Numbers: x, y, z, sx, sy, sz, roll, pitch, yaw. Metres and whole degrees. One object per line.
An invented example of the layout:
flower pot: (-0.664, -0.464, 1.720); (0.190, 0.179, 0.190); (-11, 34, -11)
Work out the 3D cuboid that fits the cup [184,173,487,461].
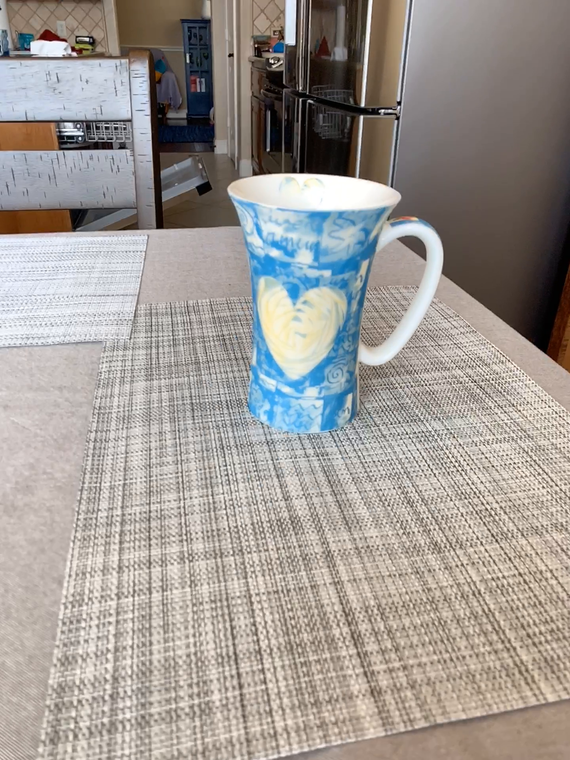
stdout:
cup: (0.021, -0.044, 0.369); (0.152, 0.148, 0.100); (-2, 29, -6)
